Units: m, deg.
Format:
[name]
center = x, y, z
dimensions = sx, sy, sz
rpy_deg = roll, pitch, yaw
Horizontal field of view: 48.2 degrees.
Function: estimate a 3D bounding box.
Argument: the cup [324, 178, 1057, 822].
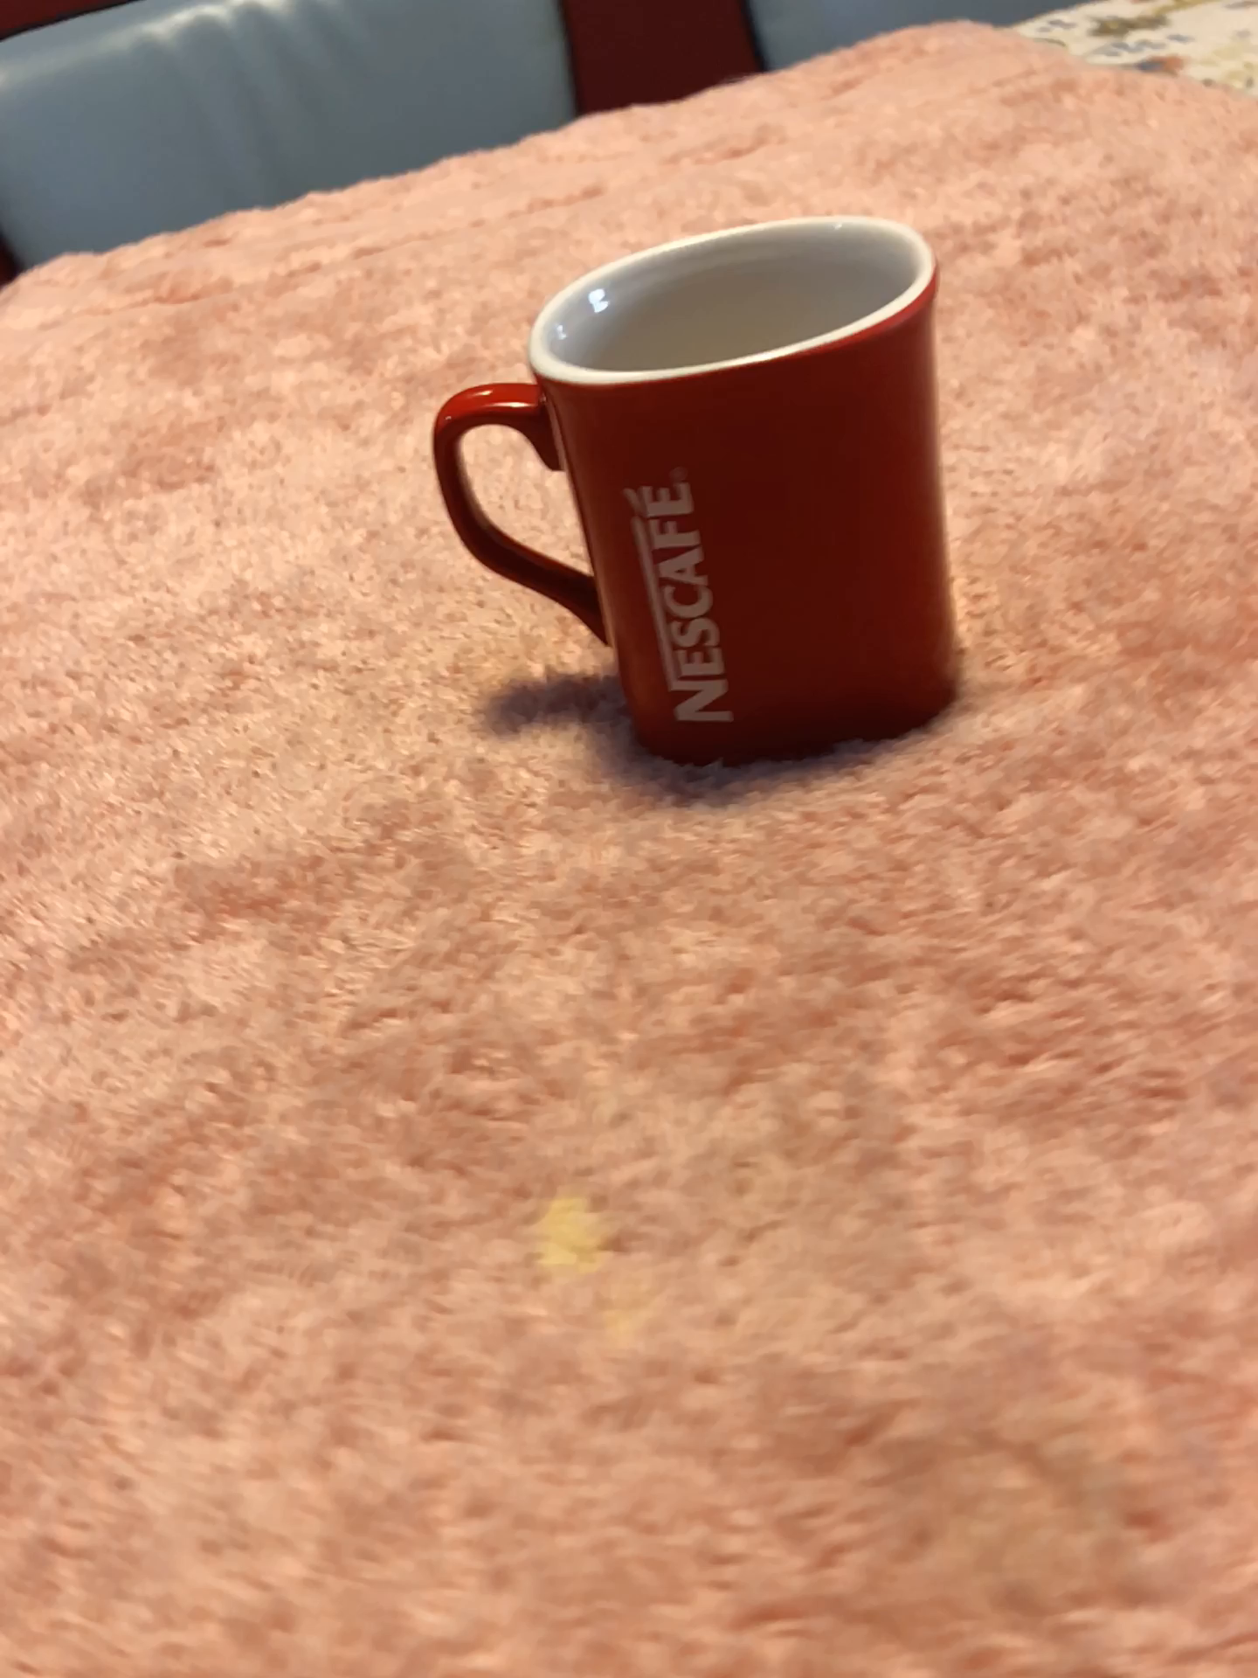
[cup]
center = 0.016, -0.056, 0.240
dimensions = 0.100, 0.069, 0.071
rpy_deg = -5, 39, 14
